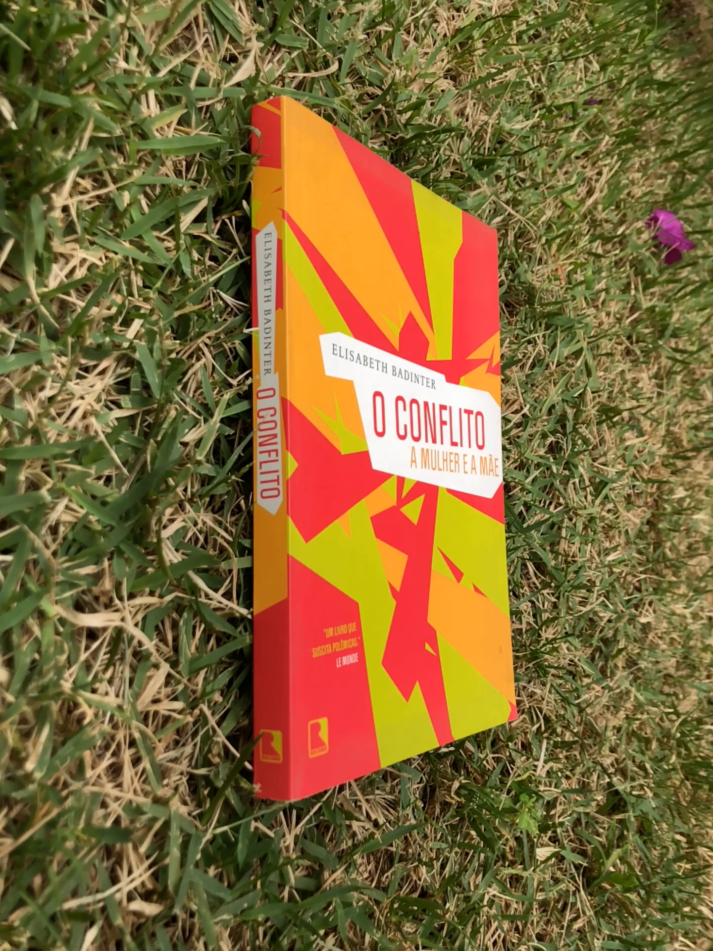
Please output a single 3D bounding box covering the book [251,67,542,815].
[{"bbox_3d":[0.019,-0.009,0.266,0.131,0.020,0.200,7,79,-51],"label":"book"}]
